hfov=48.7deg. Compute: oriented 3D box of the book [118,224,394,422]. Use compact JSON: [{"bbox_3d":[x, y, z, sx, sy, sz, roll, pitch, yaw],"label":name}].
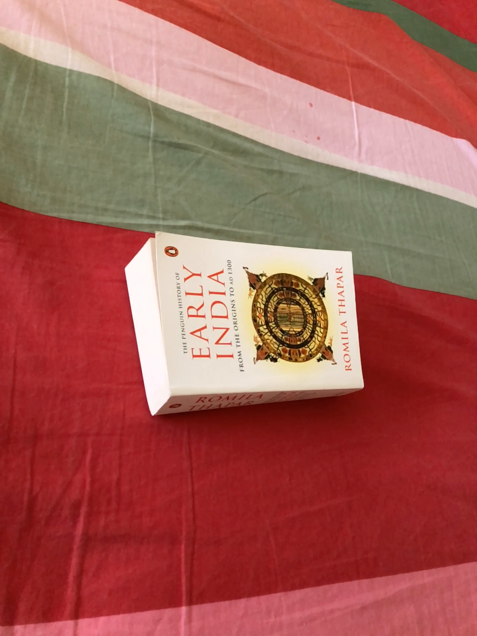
[{"bbox_3d":[0.019,0.005,0.429,0.201,0.070,0.120,0,67,-38],"label":"book"}]
